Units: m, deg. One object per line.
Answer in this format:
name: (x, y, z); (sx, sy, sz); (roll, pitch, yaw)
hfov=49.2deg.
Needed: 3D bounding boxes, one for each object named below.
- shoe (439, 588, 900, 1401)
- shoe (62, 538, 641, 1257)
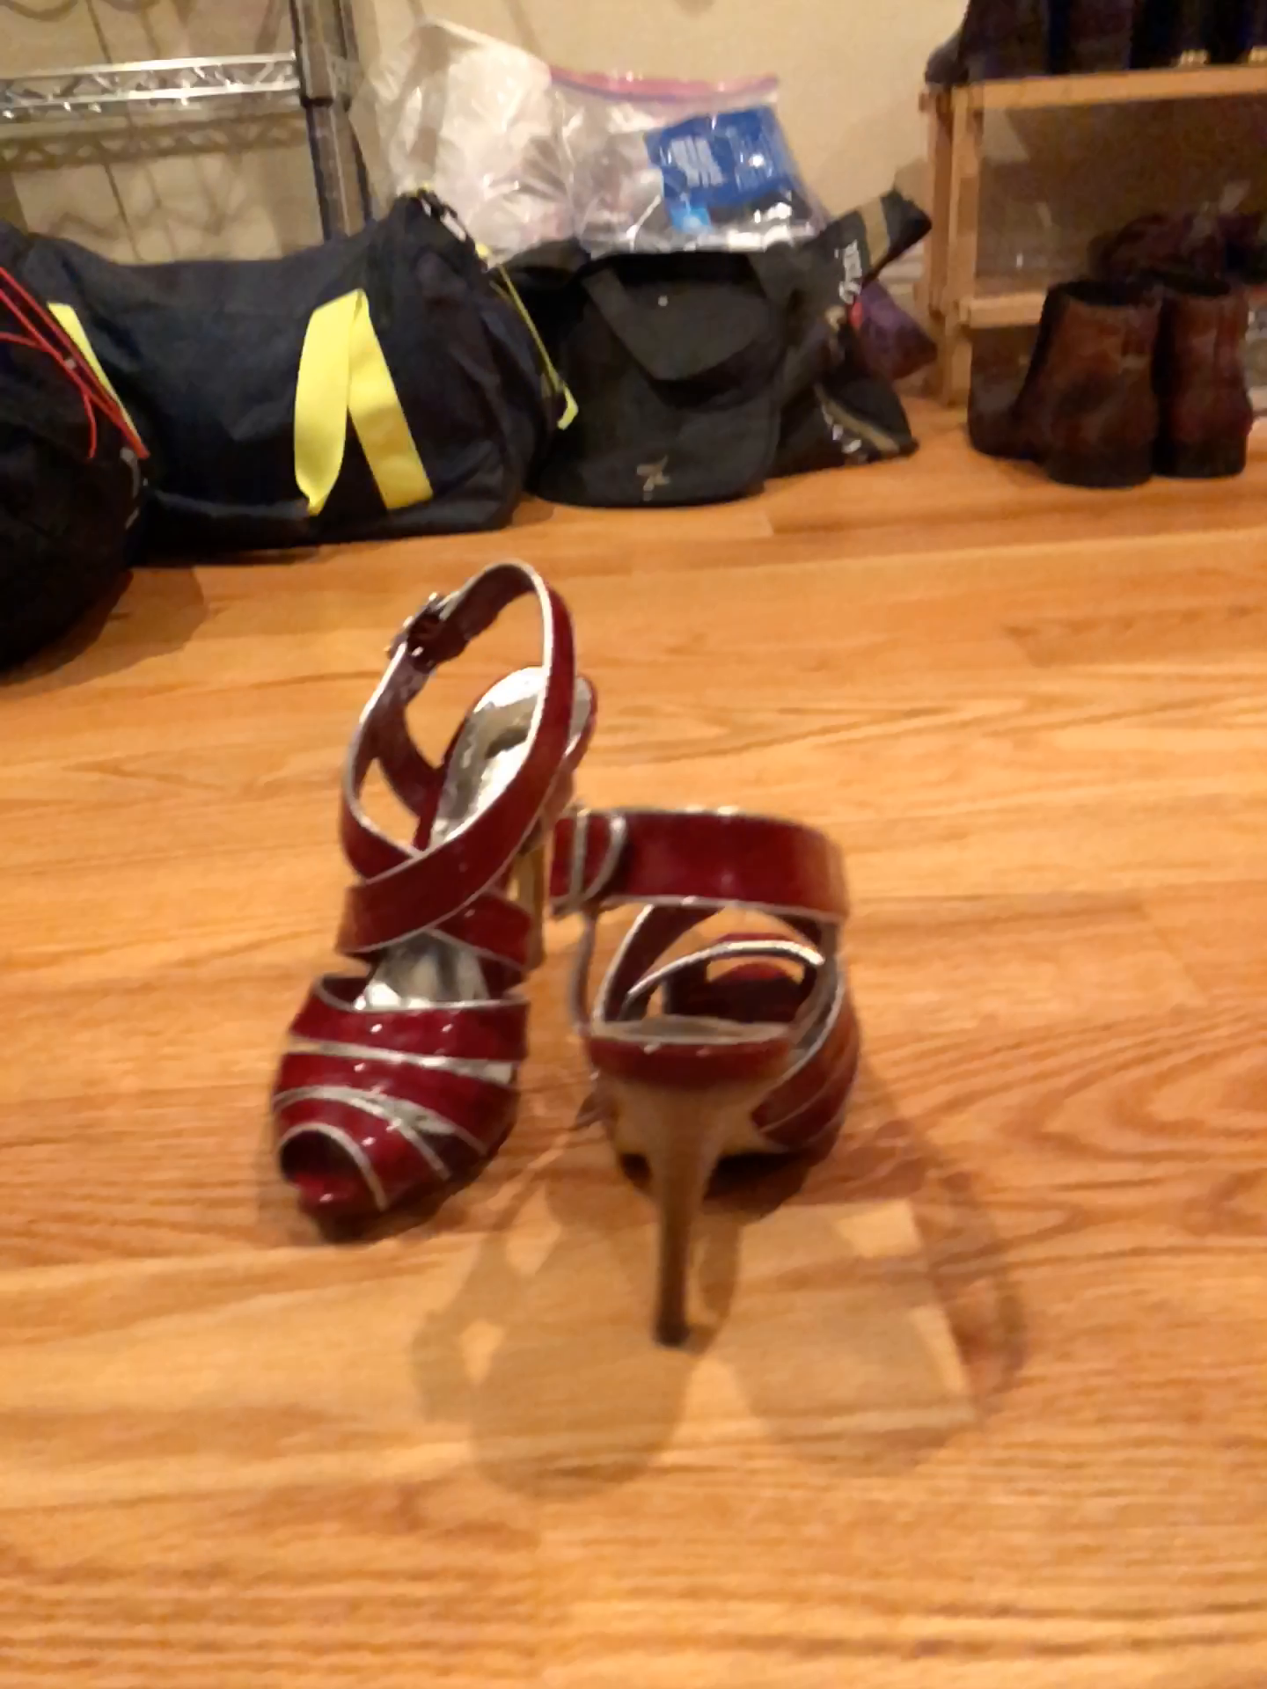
shoe: (0.026, 0.025, 0.393); (0.091, 0.141, 0.194); (2, 27, 11)
shoe: (-0.069, 0.001, 0.452); (0.091, 0.151, 0.199); (3, 27, 14)
